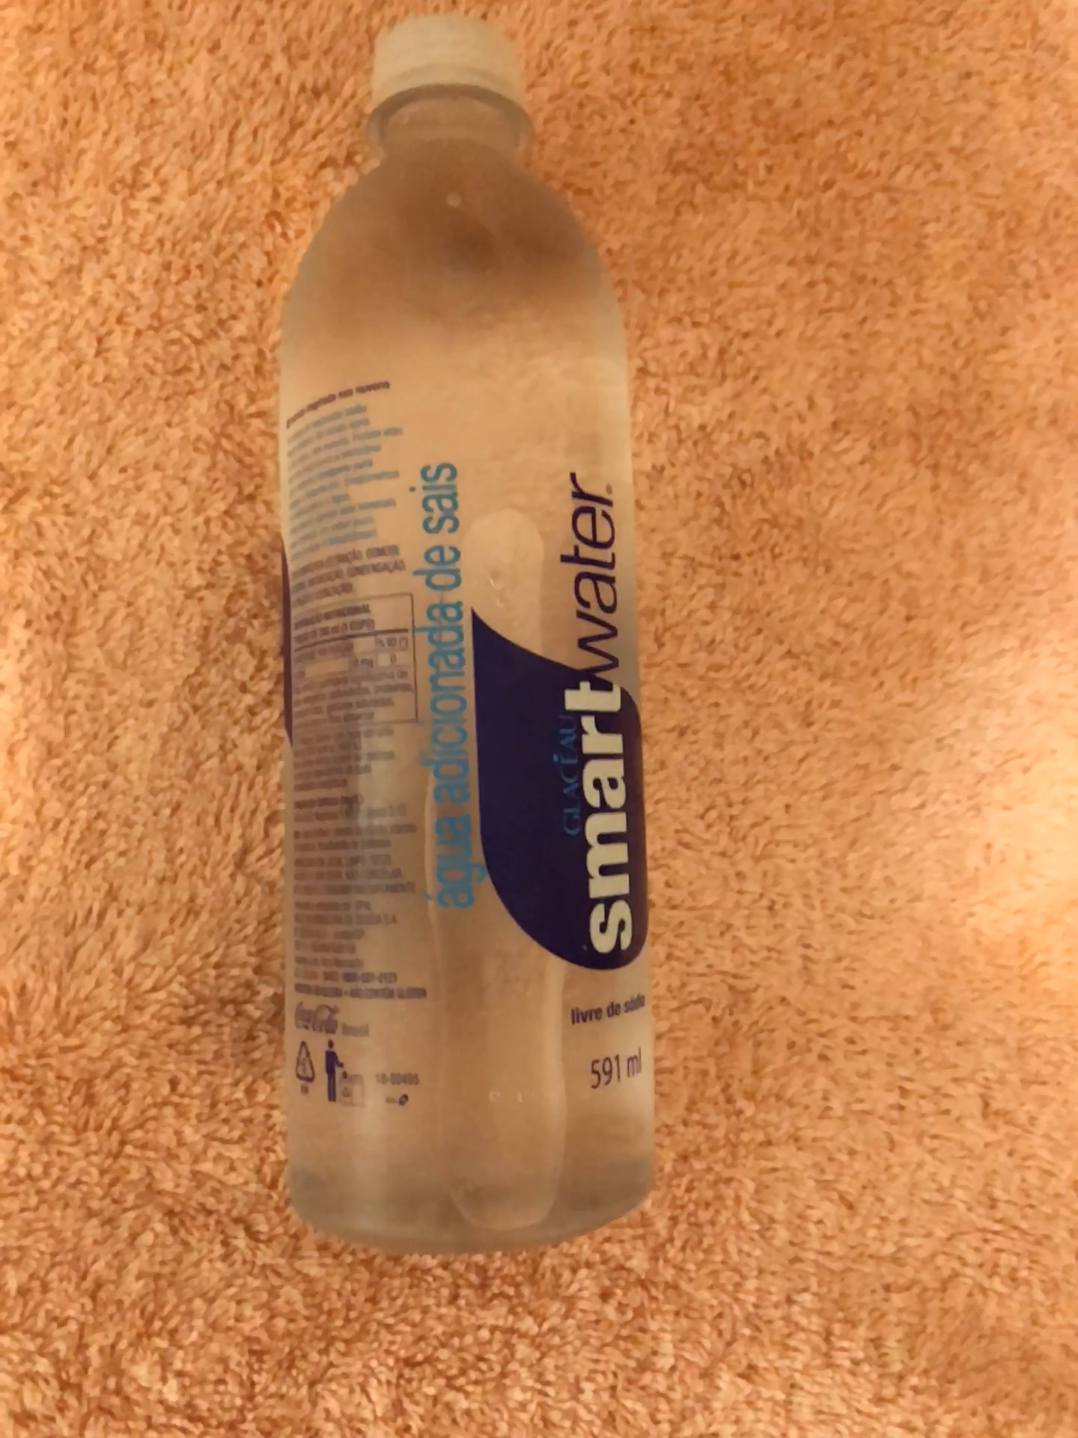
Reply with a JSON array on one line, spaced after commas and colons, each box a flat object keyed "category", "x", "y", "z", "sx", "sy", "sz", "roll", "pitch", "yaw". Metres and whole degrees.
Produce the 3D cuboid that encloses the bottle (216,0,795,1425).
[{"category": "bottle", "x": -0.009, "y": -0.018, "z": 0.208, "sx": 0.080, "sy": 0.050, "sz": 0.230, "roll": -1, "pitch": 88, "yaw": -22}]
